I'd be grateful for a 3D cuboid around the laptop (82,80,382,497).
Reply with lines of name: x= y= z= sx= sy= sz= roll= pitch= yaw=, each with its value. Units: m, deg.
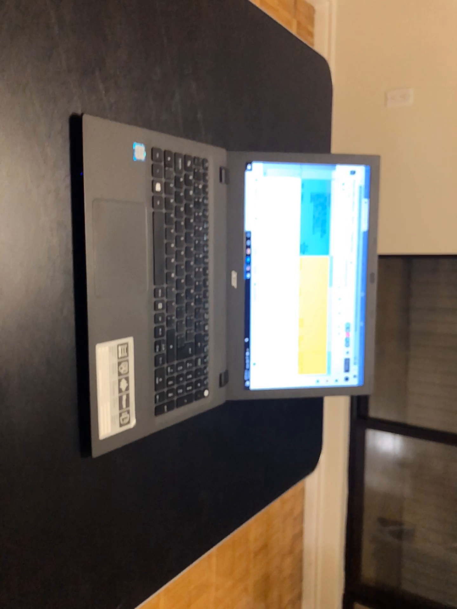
laptop: x=0.043 y=-0.025 z=0.674 sx=0.432 sy=0.161 sz=0.374 roll=-8 pitch=100 yaw=-54
